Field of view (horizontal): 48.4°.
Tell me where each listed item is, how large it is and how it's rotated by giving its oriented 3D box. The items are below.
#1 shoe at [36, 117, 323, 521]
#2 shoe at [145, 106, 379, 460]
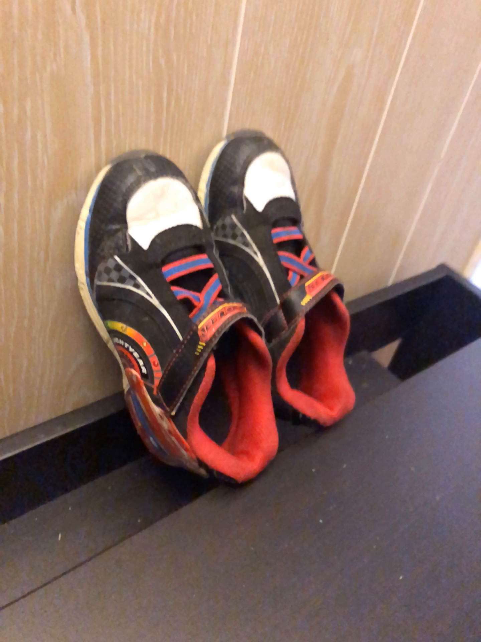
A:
[{"bbox_3d":[-0.035,-0.004,0.316,0.090,0.200,0.070,-20,5,-34],"label":"shoe"},{"bbox_3d":[0.017,-0.027,0.370,0.090,0.210,0.070,-19,8,-33],"label":"shoe"}]
